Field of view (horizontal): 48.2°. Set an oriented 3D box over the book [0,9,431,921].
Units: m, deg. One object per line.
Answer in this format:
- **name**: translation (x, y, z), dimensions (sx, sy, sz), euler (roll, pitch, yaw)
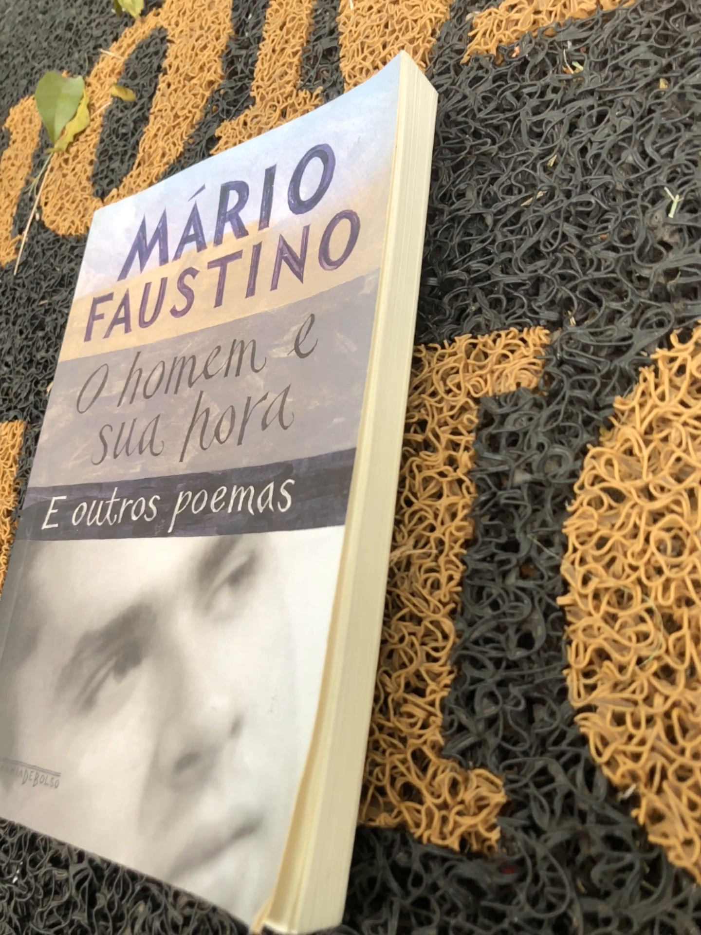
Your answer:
- **book**: translation (-0.047, -0.007, 0.188), dimensions (0.125, 0.020, 0.174), euler (-6, 69, 38)
